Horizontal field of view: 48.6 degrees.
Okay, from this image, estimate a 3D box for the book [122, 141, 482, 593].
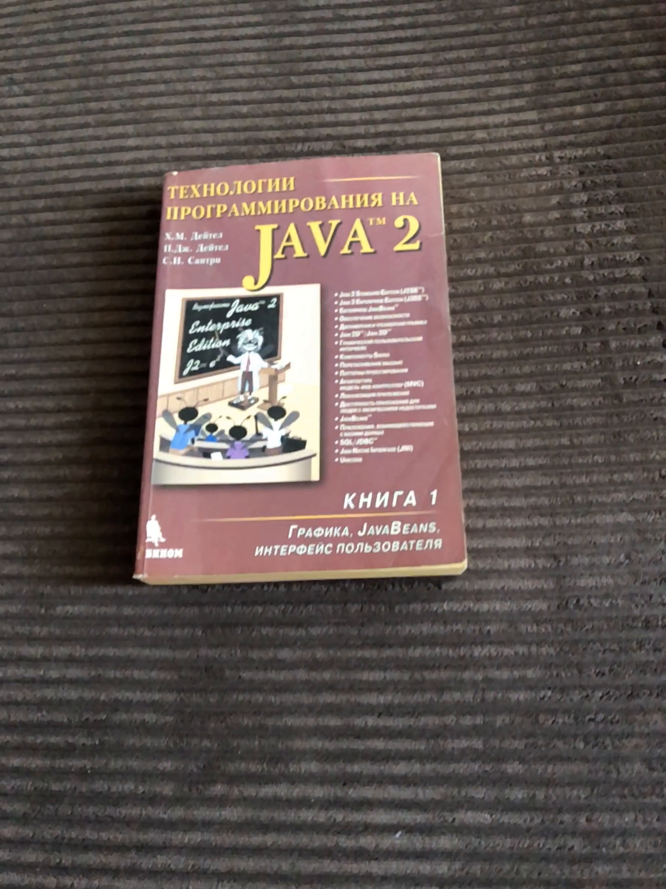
[{"bbox_3d":[-0.016,-0.047,0.403,0.165,0.050,0.240,-3,69,4],"label":"book"}]
